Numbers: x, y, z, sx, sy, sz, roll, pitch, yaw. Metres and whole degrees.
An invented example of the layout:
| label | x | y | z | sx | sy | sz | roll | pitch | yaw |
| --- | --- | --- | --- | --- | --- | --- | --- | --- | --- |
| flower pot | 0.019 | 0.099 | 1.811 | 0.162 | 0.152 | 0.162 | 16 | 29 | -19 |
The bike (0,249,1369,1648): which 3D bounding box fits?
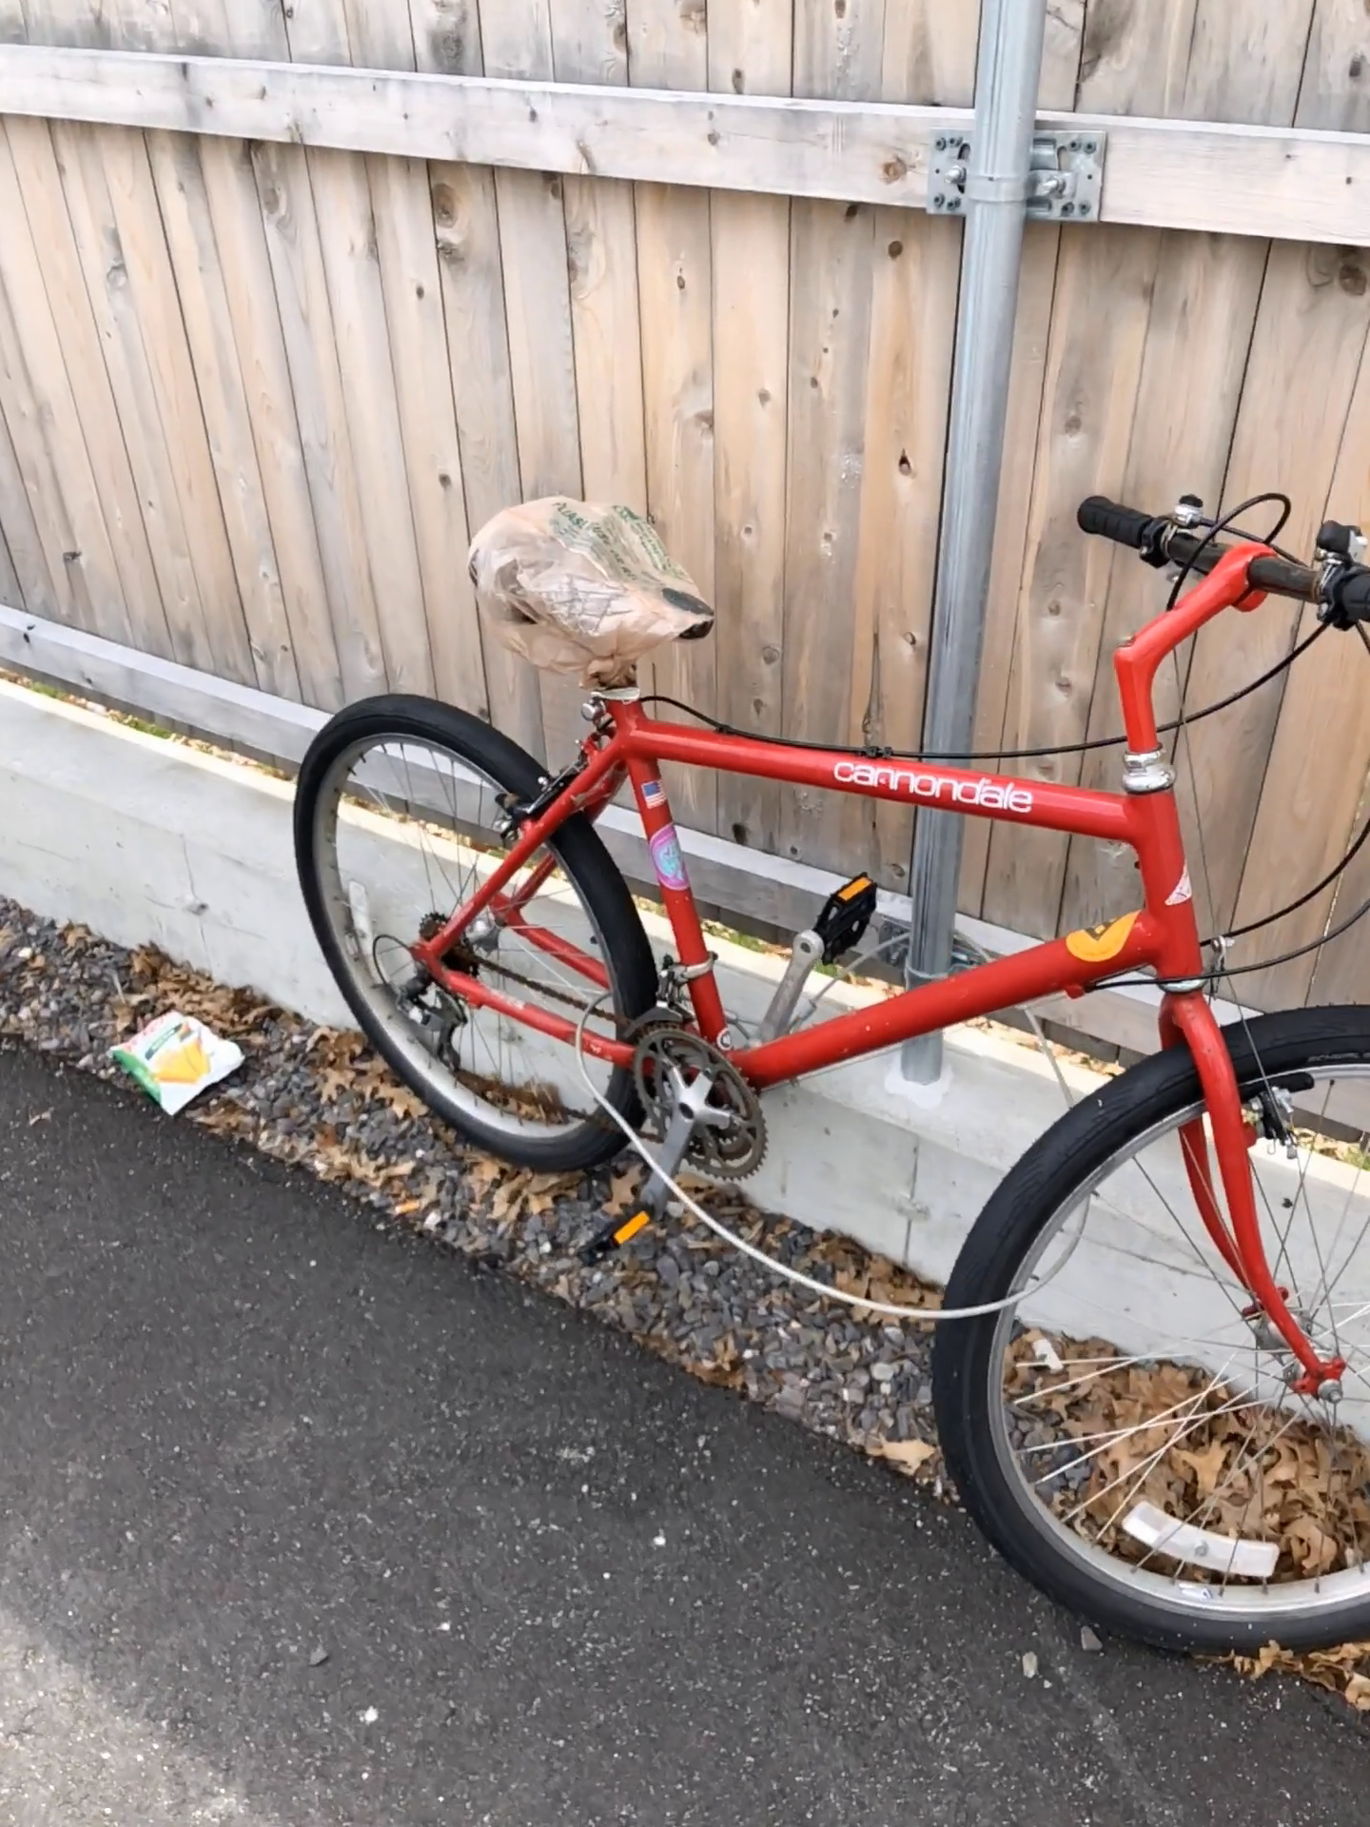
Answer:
| label | x | y | z | sx | sy | sz | roll | pitch | yaw |
| --- | --- | --- | --- | --- | --- | --- | --- | --- | --- |
| bike | 0.172 | -0.089 | 1.537 | 1.475 | 1.001 | 0.595 | 16 | 38 | 30 |
